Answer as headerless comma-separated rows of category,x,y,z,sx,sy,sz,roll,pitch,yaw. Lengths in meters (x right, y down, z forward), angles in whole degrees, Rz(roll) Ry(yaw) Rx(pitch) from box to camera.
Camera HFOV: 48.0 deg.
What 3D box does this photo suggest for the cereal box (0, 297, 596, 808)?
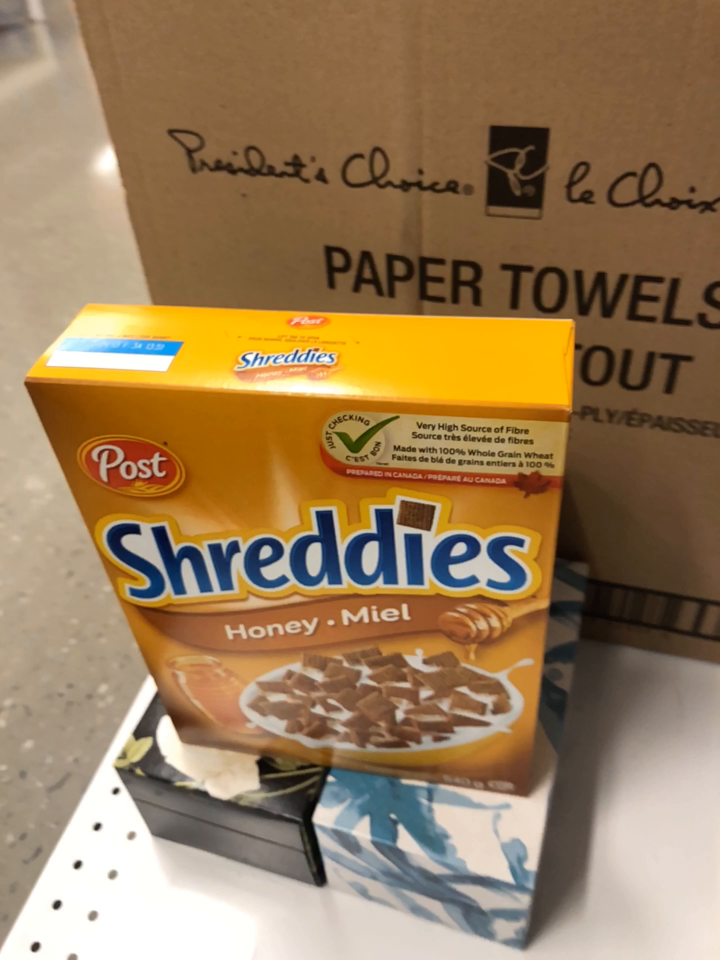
cereal box,-0.018,0.048,0.383,0.220,0.259,0.060,4,42,11
